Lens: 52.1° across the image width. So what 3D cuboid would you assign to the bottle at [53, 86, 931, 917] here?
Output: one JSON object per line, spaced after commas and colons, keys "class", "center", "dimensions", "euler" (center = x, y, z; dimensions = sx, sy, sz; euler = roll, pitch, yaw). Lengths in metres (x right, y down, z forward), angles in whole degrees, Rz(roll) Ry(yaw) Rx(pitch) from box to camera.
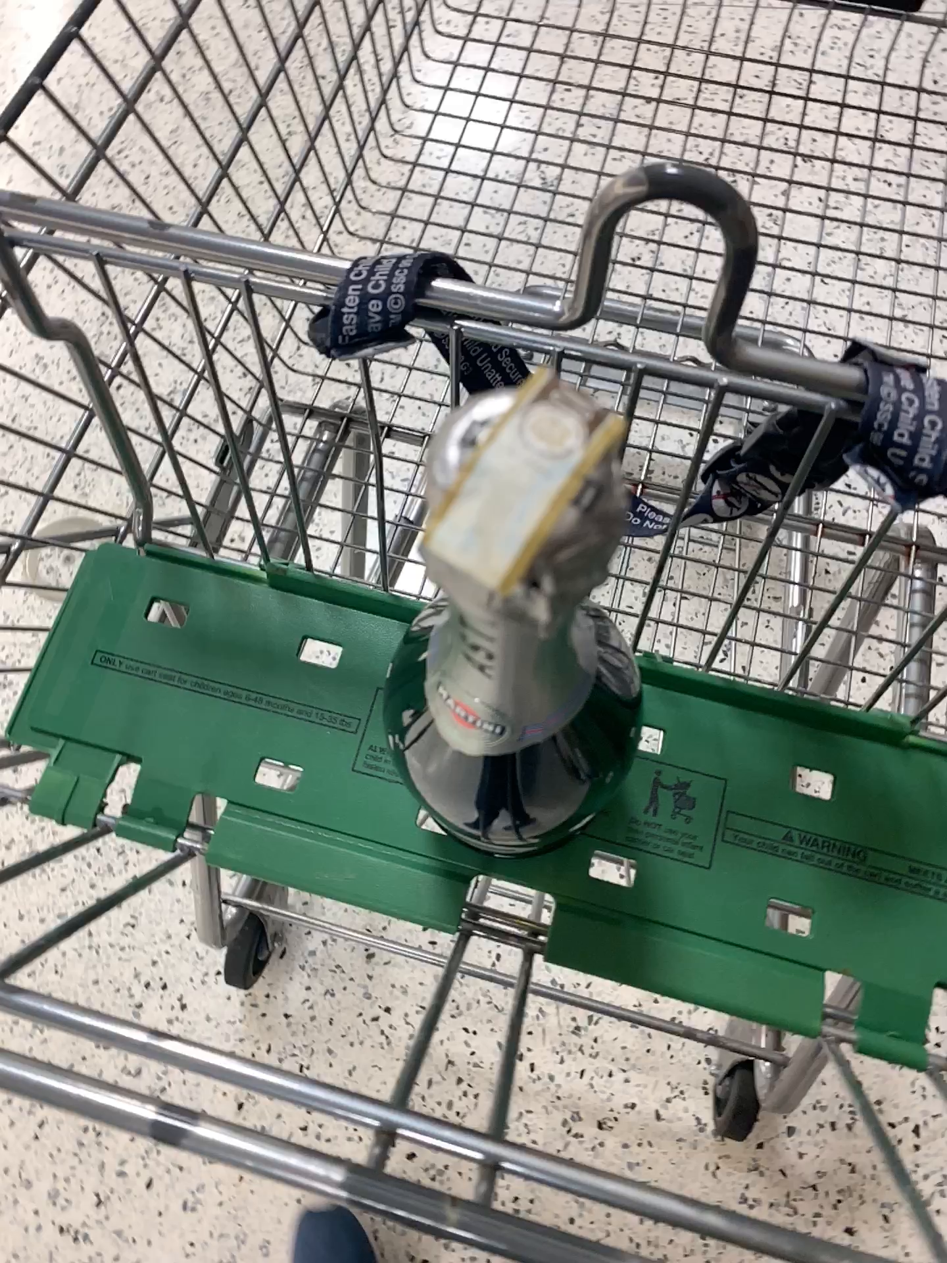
{"class": "bottle", "center": [0.009, 0.010, 0.293], "dimensions": [0.100, 0.289, 0.100], "euler": [-1, 73, 3]}
